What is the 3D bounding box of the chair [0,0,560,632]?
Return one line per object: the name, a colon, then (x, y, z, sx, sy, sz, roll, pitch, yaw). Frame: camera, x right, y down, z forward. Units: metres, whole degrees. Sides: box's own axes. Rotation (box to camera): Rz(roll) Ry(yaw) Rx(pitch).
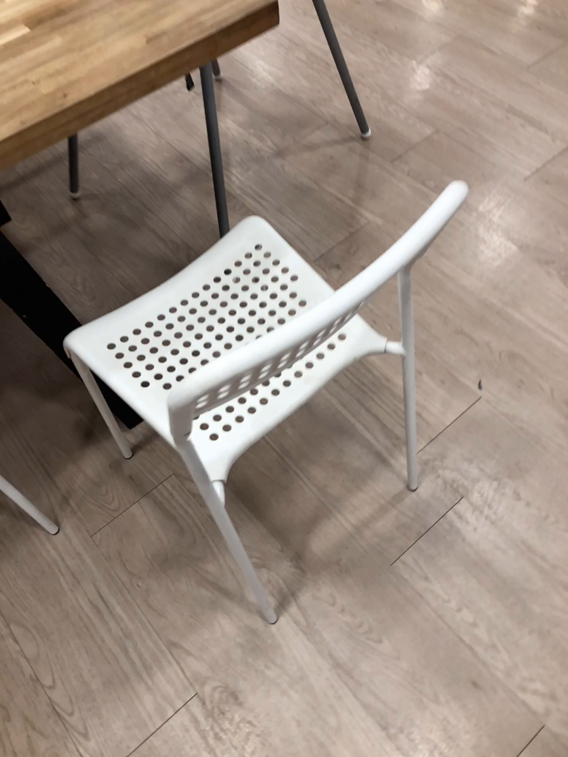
chair: (-0.032, -0.028, 0.887, 0.420, 0.696, 0.452, -37, 62, -17)
